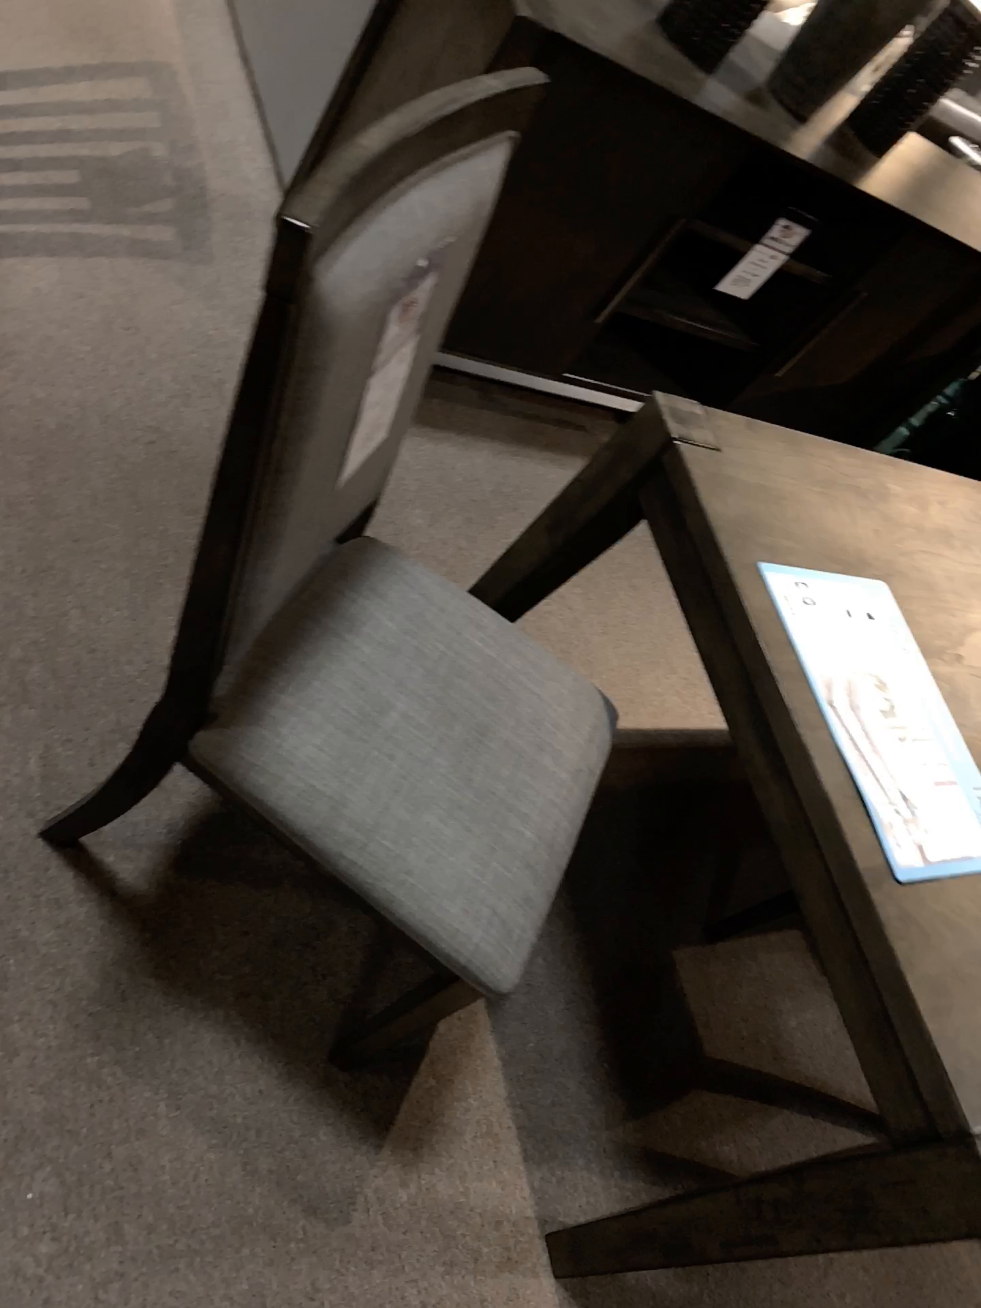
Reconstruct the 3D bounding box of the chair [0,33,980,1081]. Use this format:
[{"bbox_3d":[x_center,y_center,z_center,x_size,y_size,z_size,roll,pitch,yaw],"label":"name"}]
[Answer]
[{"bbox_3d":[-0.071,-0.001,1.184,0.642,0.997,0.517,38,45,-9],"label":"chair"}]
